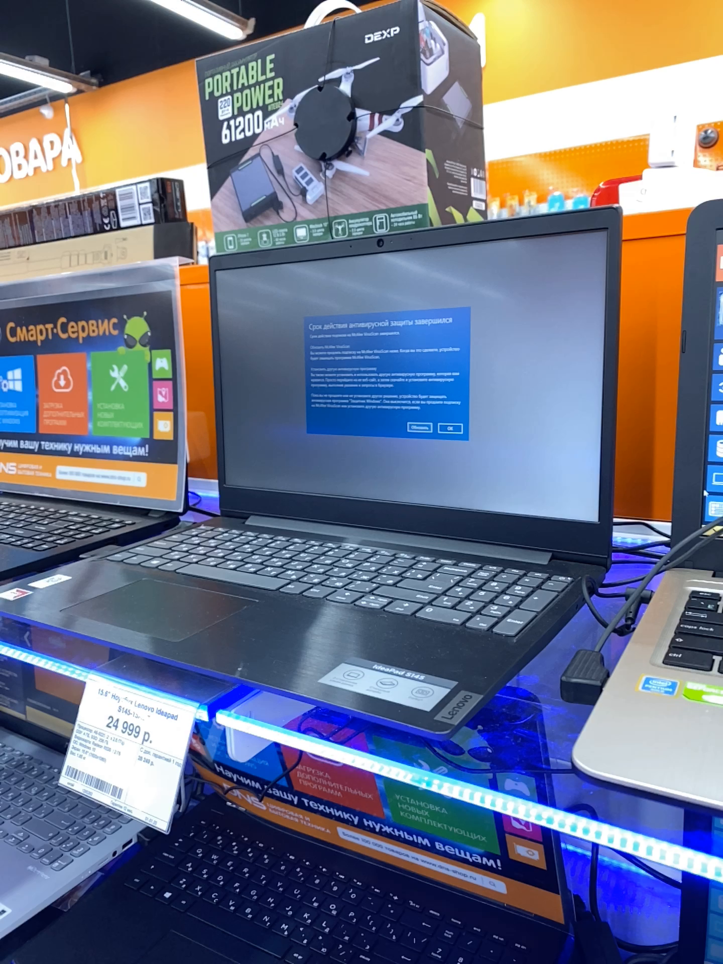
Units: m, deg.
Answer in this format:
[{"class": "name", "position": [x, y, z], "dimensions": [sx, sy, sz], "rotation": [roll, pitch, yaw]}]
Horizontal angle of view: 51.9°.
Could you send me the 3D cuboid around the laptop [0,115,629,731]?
[{"class": "laptop", "position": [-0.043, -0.049, 0.499], "dimensions": [0.362, 0.240, 0.273], "rotation": [4, 12, 33]}]
